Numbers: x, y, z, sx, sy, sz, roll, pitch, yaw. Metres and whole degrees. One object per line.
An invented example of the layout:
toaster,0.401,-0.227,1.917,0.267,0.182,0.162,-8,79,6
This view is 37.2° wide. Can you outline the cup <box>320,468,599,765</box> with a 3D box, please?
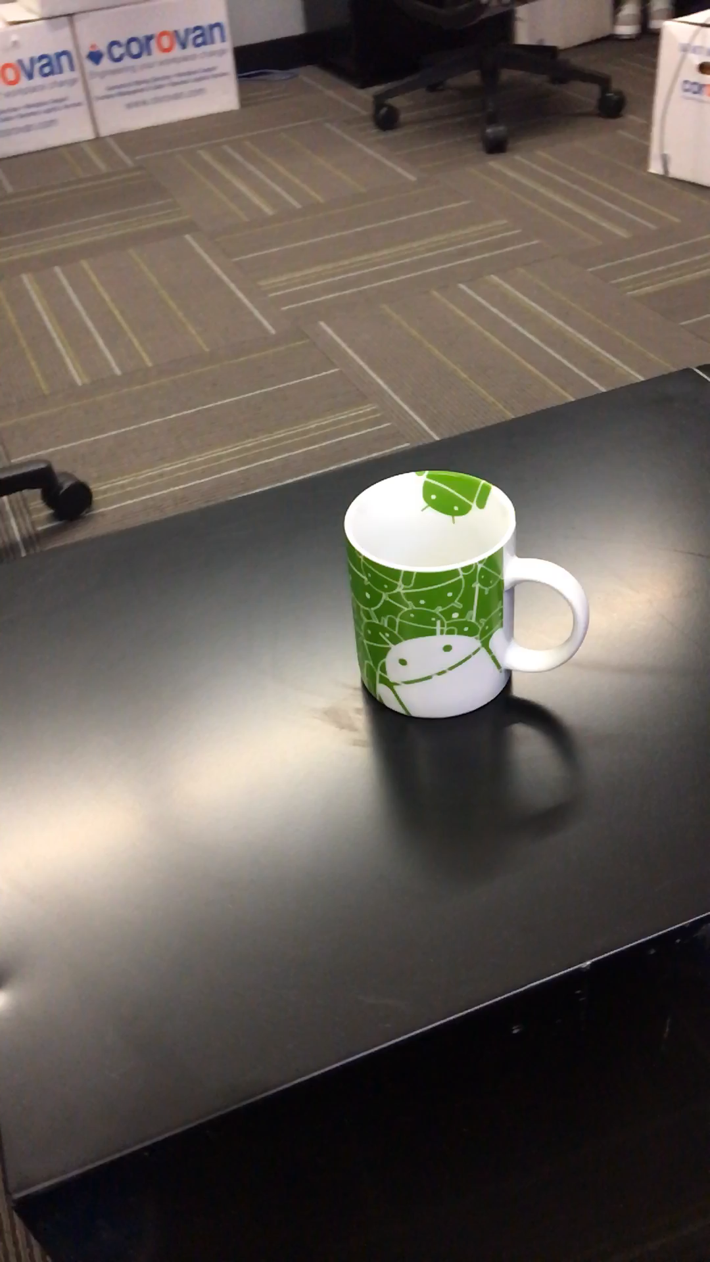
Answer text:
cup,0.057,-0.009,0.533,0.120,0.110,0.090,4,41,12
